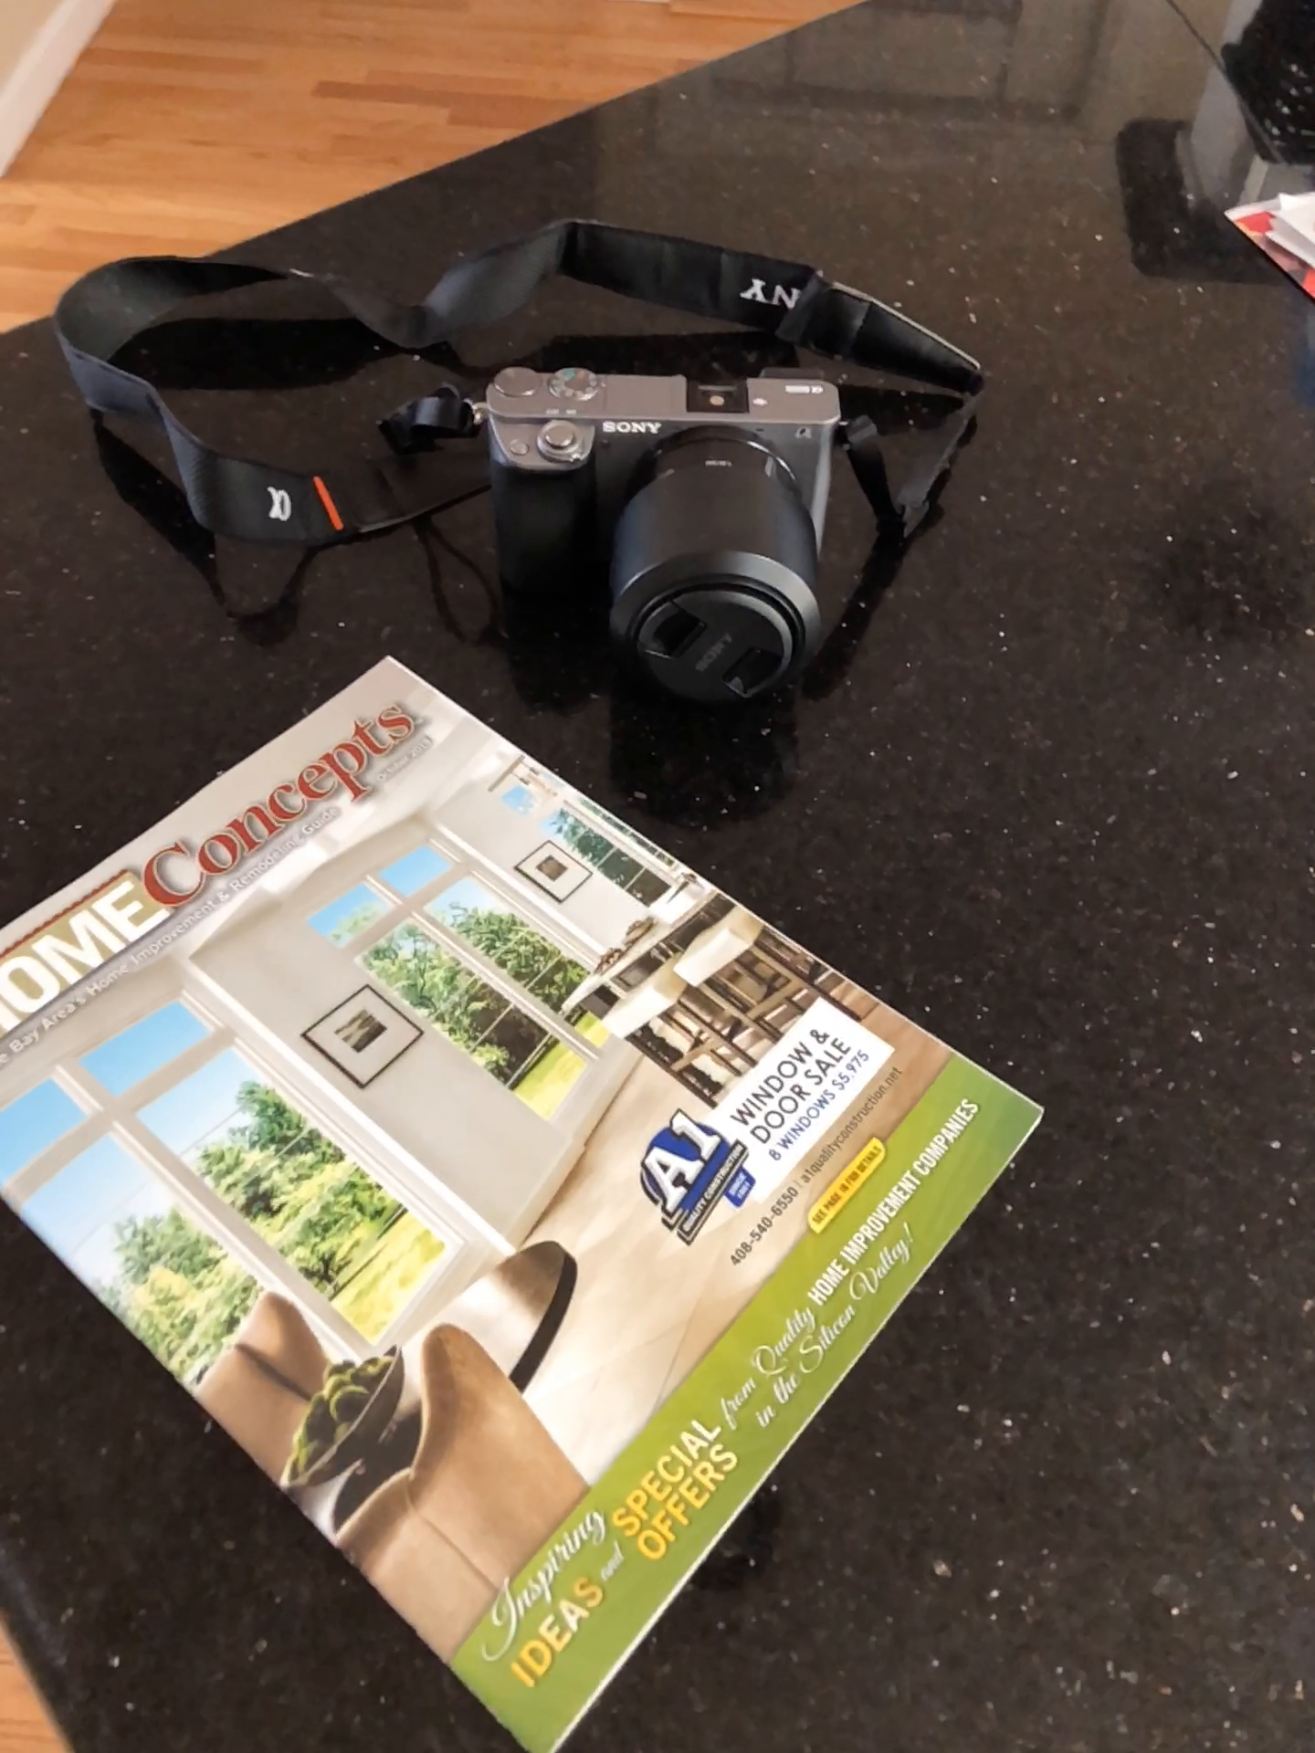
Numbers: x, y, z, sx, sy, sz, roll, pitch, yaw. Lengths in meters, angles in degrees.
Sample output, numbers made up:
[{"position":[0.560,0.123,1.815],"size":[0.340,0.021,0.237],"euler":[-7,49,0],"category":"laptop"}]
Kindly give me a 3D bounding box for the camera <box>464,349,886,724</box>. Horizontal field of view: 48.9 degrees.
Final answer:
[{"position":[0.004,-0.111,0.467],"size":[0.120,0.060,0.110],"euler":[0,54,-1],"category":"camera"}]
